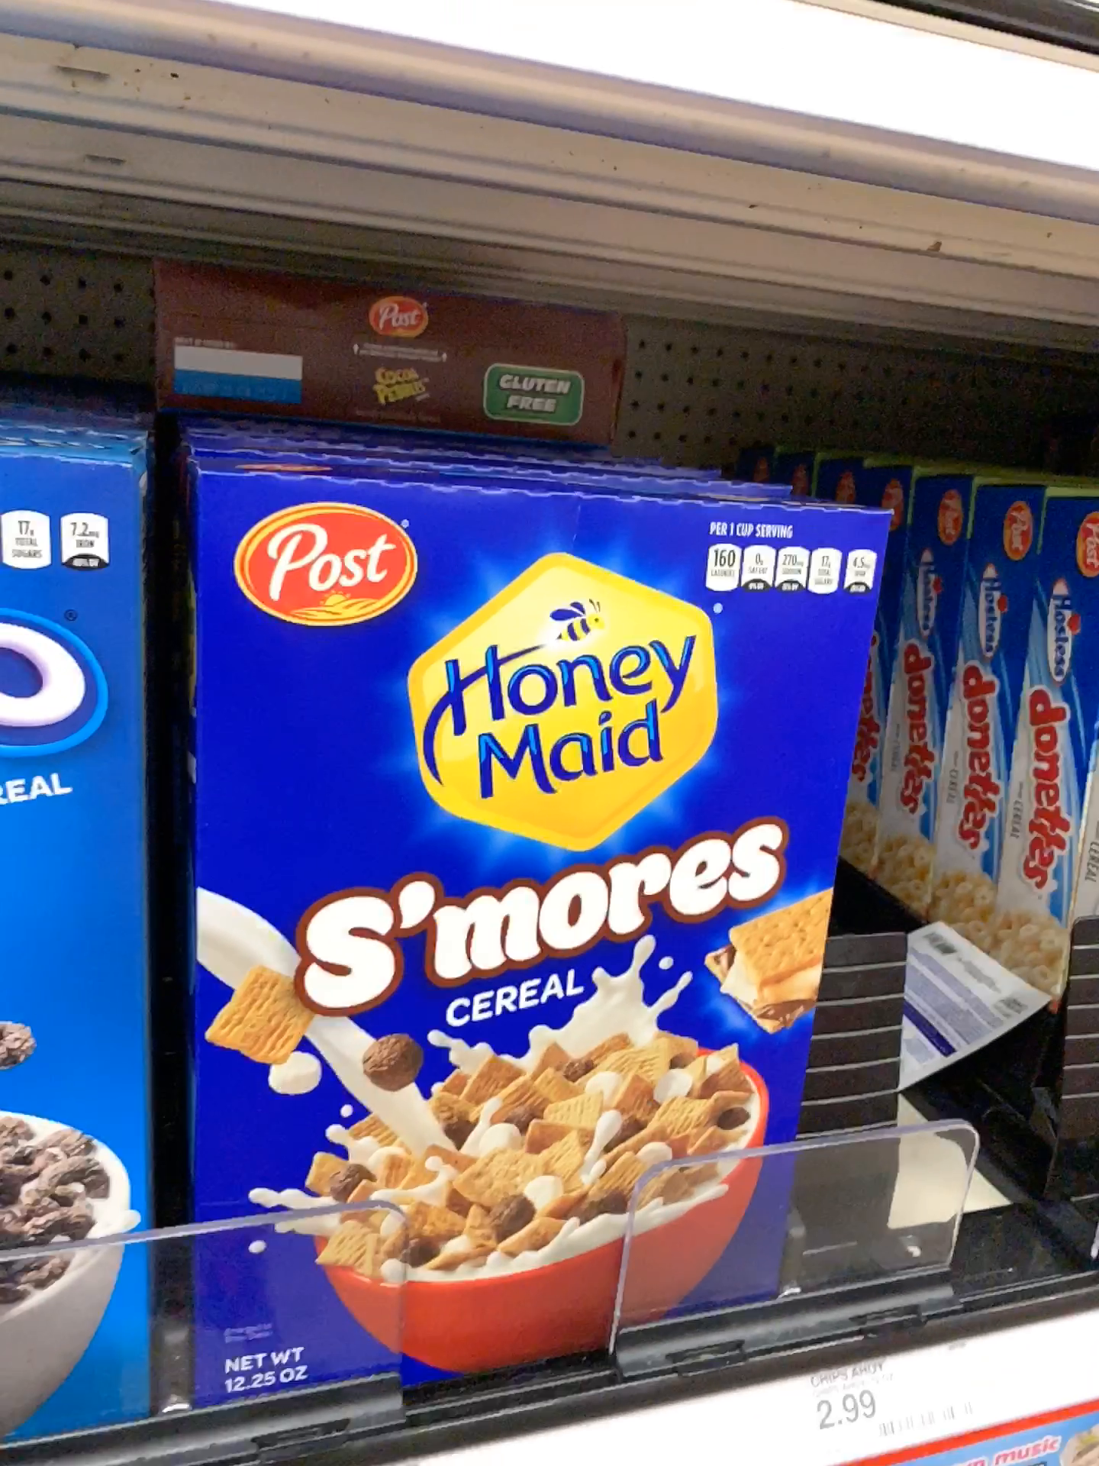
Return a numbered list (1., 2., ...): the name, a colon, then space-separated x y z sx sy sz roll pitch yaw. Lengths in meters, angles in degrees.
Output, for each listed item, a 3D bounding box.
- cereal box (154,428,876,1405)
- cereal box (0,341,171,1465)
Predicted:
1. cereal box: -0.019 0.053 0.348 0.190 0.269 0.060 0 15 -18
2. cereal box: -0.190 0.056 0.278 0.180 0.269 0.070 -1 16 -21
